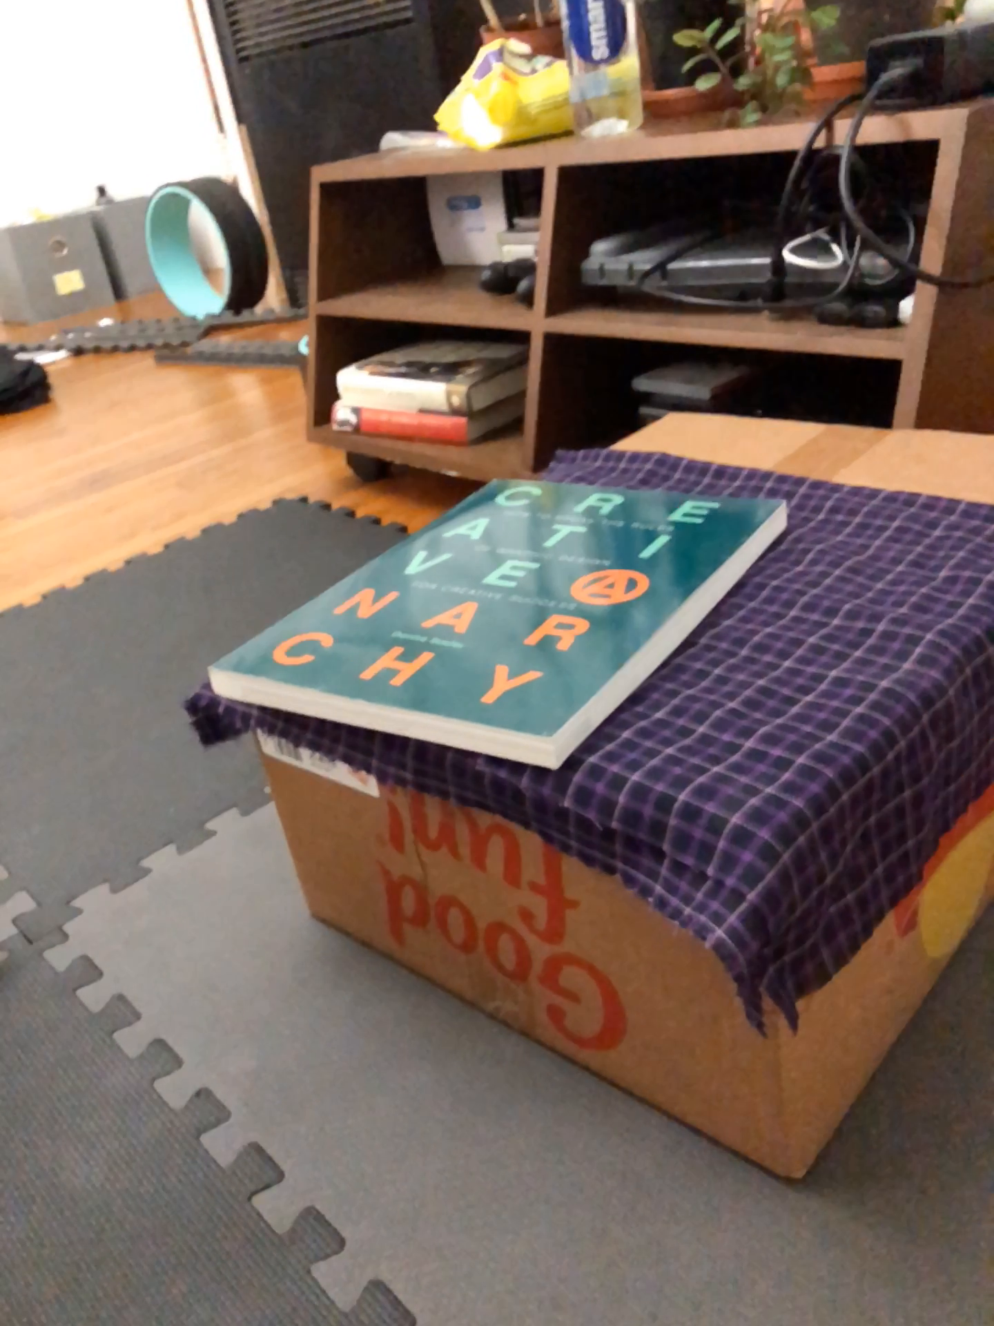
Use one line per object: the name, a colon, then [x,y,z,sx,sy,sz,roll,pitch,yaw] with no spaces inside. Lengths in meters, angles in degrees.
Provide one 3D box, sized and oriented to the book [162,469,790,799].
book: [0.003,-0.040,0.609,0.220,0.020,0.301,10,34,32]
